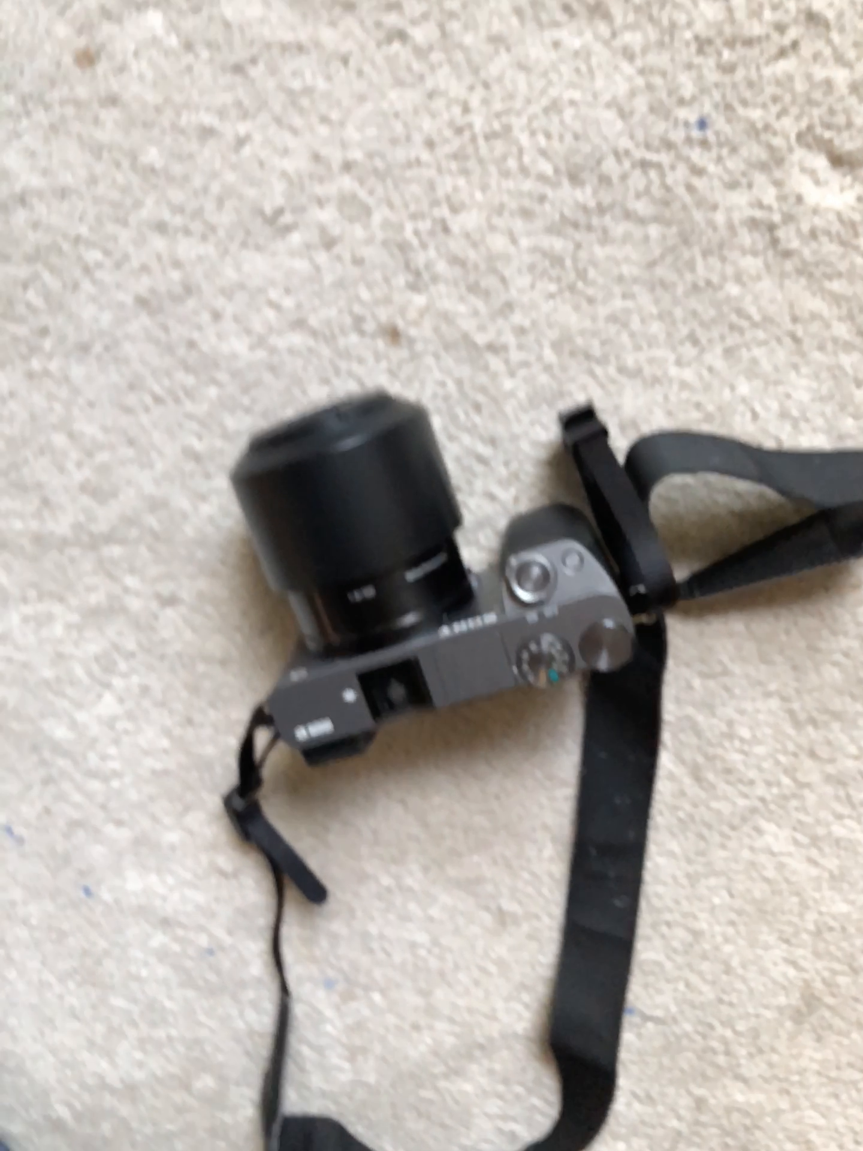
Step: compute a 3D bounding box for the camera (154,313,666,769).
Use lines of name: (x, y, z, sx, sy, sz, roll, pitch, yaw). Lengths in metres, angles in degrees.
camera: (-0.003, -0.014, 0.309, 0.120, 0.070, 0.100, -17, 105, 8)
